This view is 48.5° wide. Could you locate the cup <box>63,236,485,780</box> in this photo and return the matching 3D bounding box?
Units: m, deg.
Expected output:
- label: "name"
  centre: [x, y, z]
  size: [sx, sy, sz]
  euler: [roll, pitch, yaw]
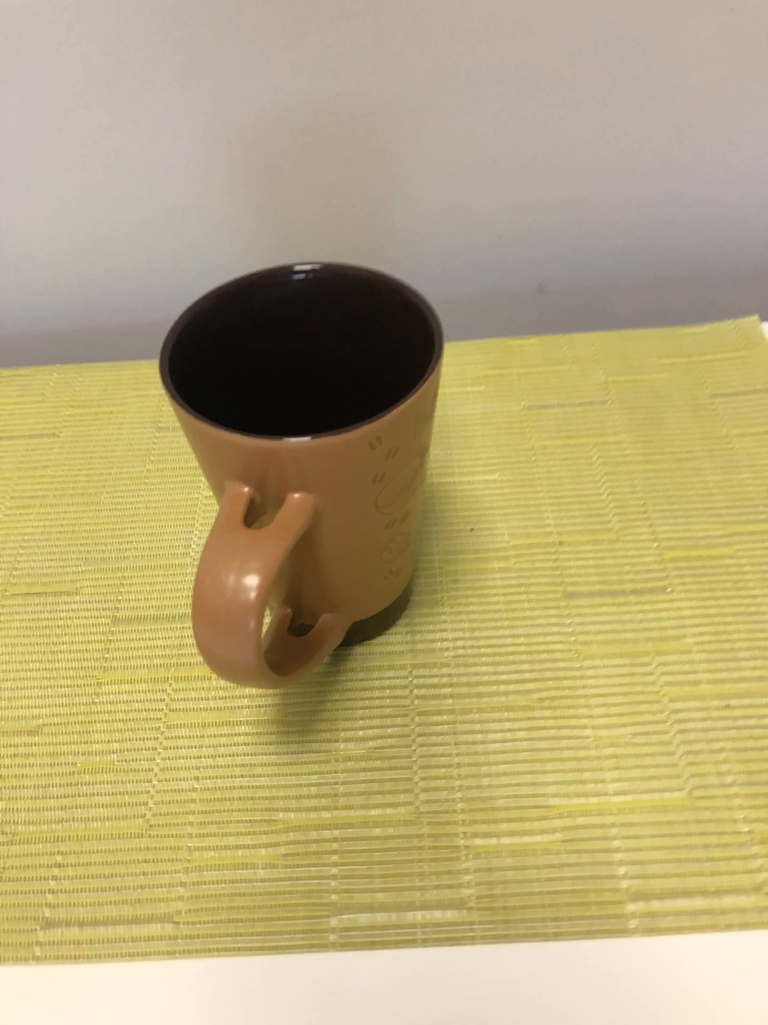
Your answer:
- label: "cup"
  centre: [-0.019, -0.003, 0.284]
  size: [0.090, 0.119, 0.127]
  euler: [5, 48, 9]
